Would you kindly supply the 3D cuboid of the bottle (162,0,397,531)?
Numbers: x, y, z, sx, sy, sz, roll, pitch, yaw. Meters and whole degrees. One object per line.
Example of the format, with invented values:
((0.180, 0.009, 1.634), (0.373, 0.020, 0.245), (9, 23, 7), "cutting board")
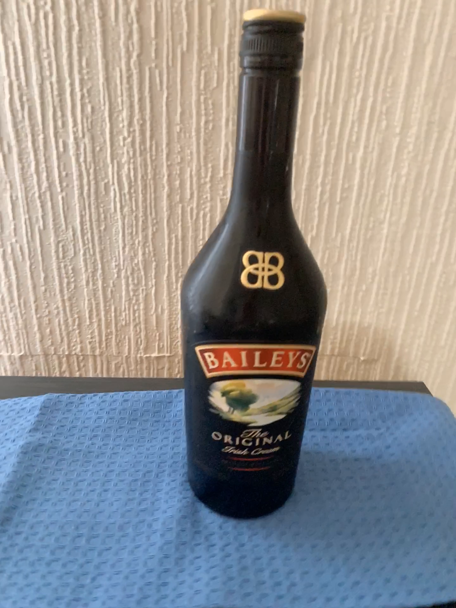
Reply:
((0.012, -0.002, 0.270), (0.090, 0.287, 0.071), (1, 25, -4), "bottle")
